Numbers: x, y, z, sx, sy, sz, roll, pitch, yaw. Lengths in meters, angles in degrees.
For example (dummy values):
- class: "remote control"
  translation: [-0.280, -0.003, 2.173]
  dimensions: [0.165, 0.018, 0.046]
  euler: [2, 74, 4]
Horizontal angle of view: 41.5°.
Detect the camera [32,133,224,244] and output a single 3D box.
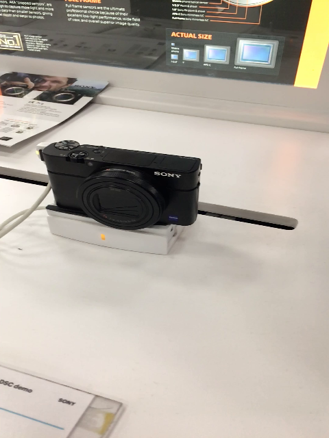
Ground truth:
- class: "camera"
  translation: [-0.026, -0.024, 0.331]
  dimensions: [0.125, 0.059, 0.042]
  euler: [11, 44, 13]
